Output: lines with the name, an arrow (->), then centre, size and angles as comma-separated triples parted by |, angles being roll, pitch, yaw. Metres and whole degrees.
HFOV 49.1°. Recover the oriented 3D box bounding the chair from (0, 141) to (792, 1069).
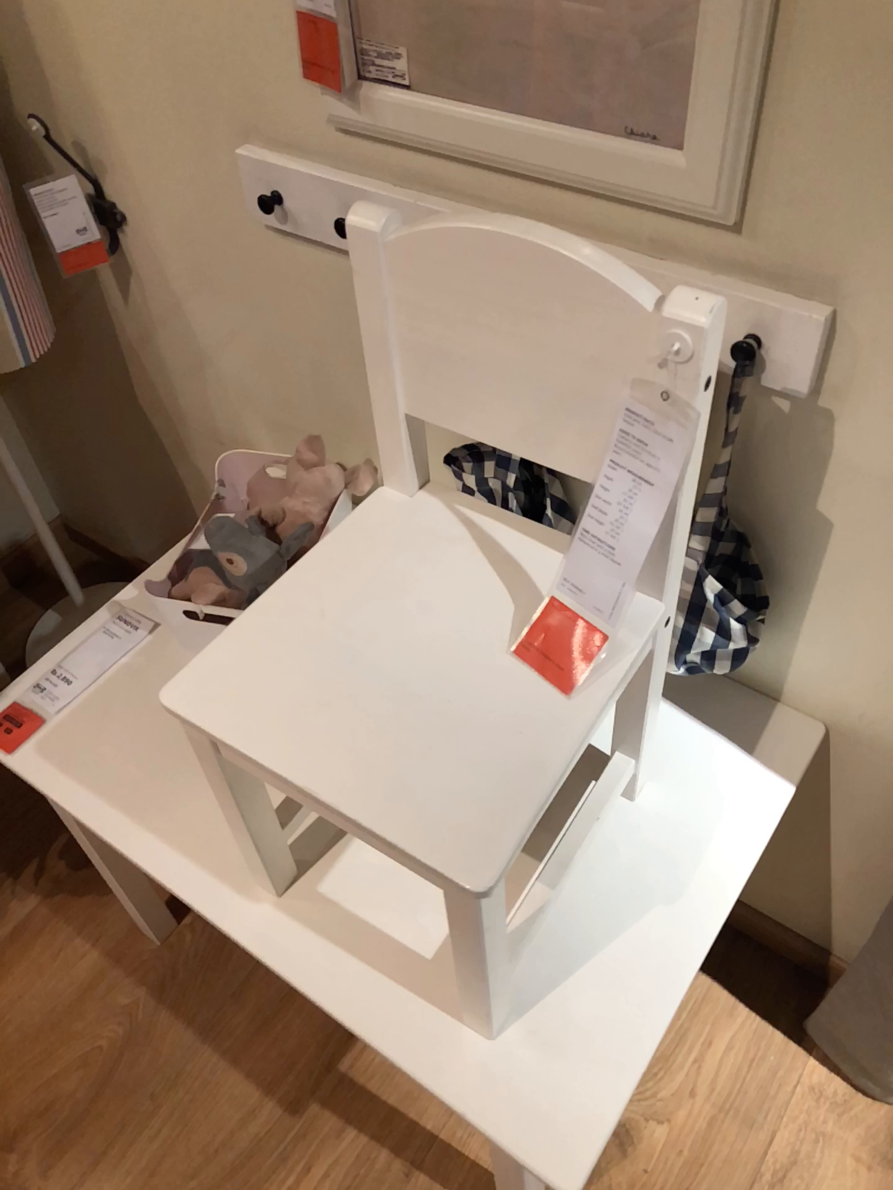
chair -> -0.001, 0.035, 0.726 | 0.301, 0.557, 0.321 | 24, 54, 25
